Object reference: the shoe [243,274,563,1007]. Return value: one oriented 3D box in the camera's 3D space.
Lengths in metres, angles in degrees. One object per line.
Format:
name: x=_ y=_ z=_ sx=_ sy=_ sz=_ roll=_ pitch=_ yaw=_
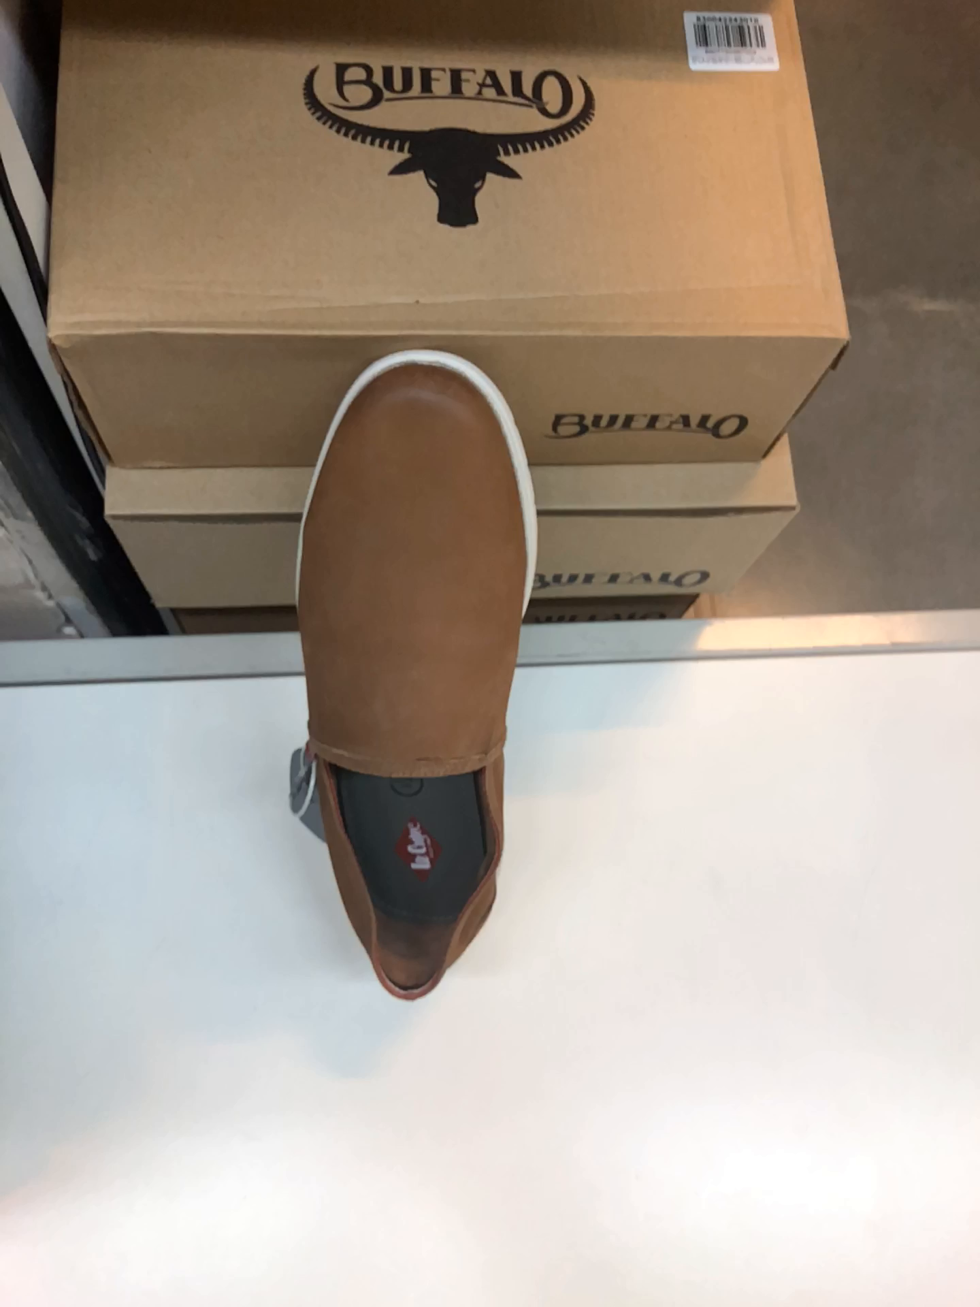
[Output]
shoe: x=-0.036 y=-0.005 z=0.522 sx=0.113 sy=0.310 sz=0.149 roll=4 pitch=27 yaw=0
